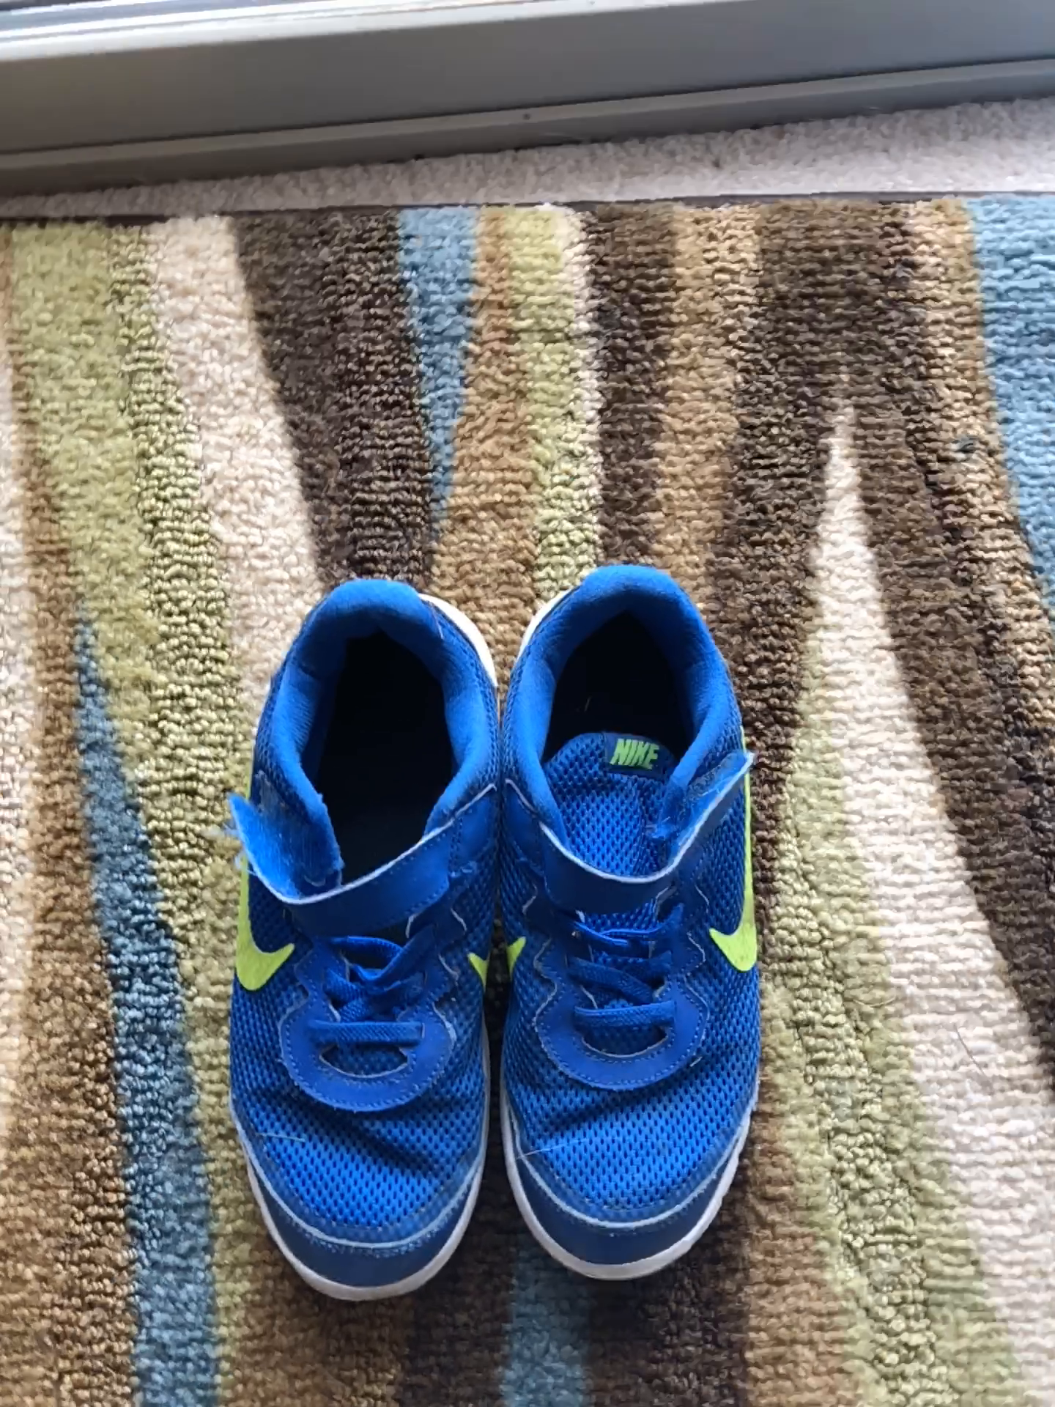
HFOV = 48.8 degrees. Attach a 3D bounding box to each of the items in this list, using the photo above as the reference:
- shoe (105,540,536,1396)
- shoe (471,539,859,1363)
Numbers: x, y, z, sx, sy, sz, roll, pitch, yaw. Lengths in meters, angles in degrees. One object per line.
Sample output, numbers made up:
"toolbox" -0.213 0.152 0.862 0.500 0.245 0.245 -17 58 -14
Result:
"shoe" -0.055 0.074 0.368 0.102 0.075 0.233 3 77 -1
"shoe" 0.035 0.070 0.371 0.103 0.075 0.231 0 77 -1
